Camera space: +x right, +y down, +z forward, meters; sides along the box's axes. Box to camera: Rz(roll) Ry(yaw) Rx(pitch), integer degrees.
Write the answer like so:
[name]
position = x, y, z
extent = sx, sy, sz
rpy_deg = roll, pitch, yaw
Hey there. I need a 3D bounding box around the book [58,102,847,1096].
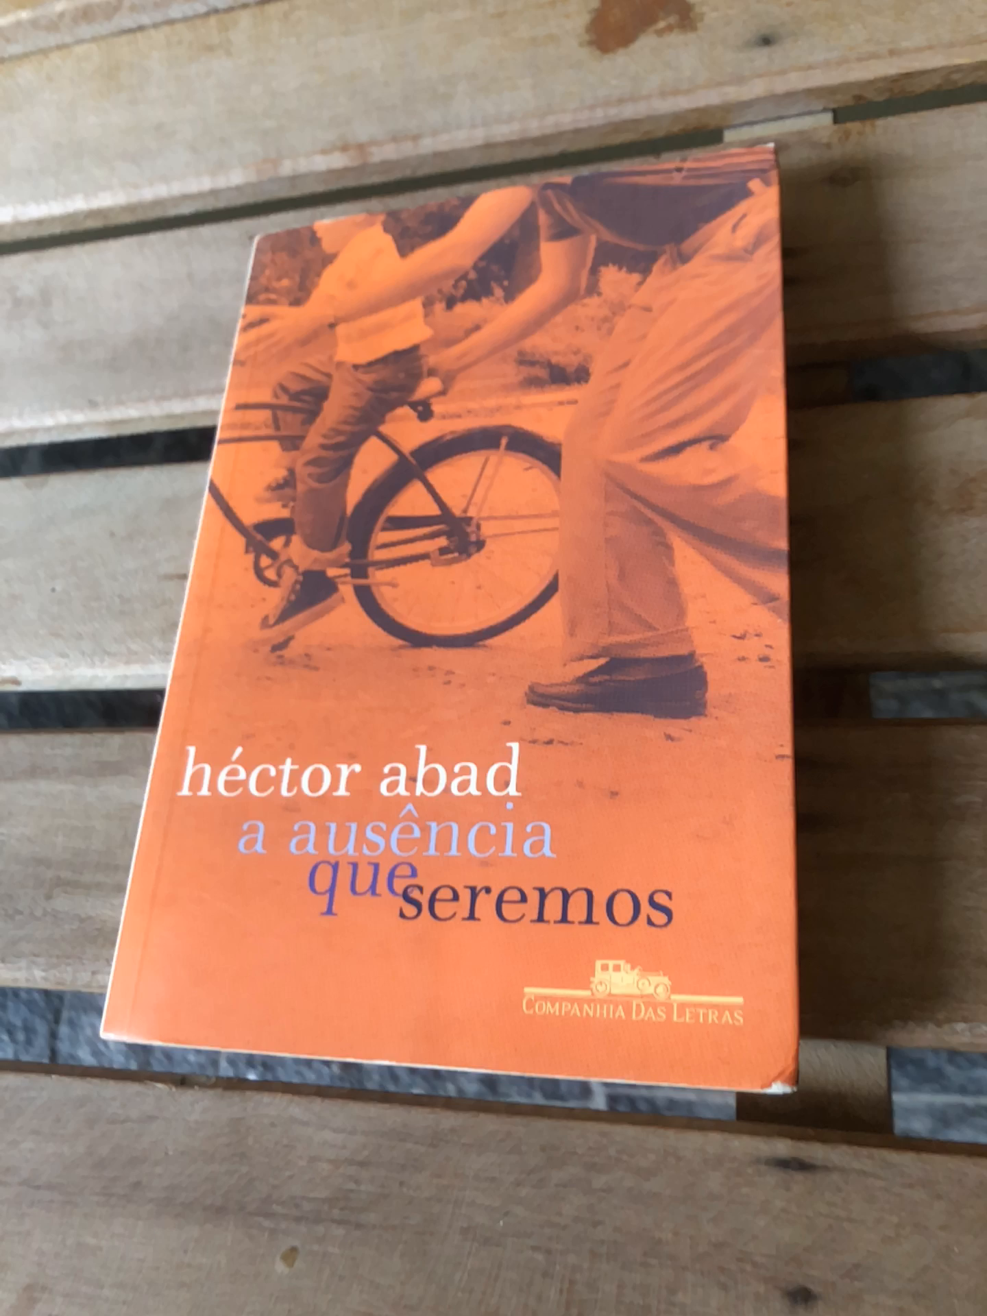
[book]
position = -0.004, -0.021, 0.234
extent = 0.143, 0.020, 0.200
rpy_deg = -2, 68, 18
